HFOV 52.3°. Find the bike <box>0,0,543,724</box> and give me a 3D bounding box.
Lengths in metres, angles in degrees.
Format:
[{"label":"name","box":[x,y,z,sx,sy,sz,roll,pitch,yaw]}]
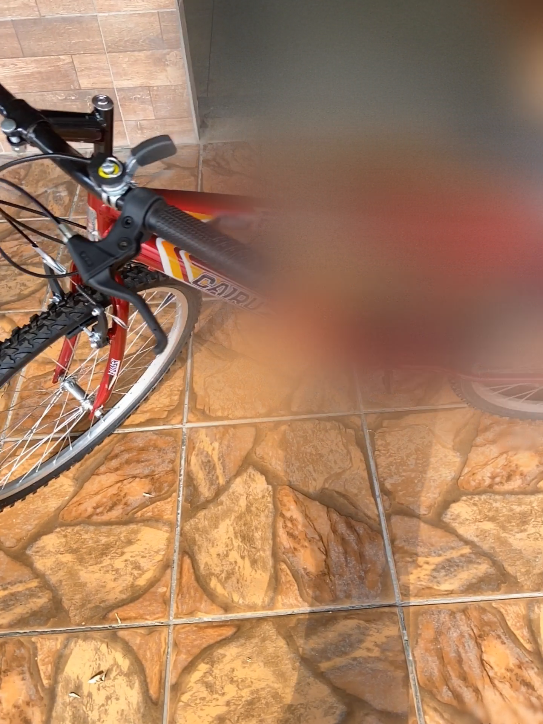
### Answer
[{"label":"bike","box":[0.167,0.039,0.826,1.556,0.986,0.602,-10,48,-2]}]
